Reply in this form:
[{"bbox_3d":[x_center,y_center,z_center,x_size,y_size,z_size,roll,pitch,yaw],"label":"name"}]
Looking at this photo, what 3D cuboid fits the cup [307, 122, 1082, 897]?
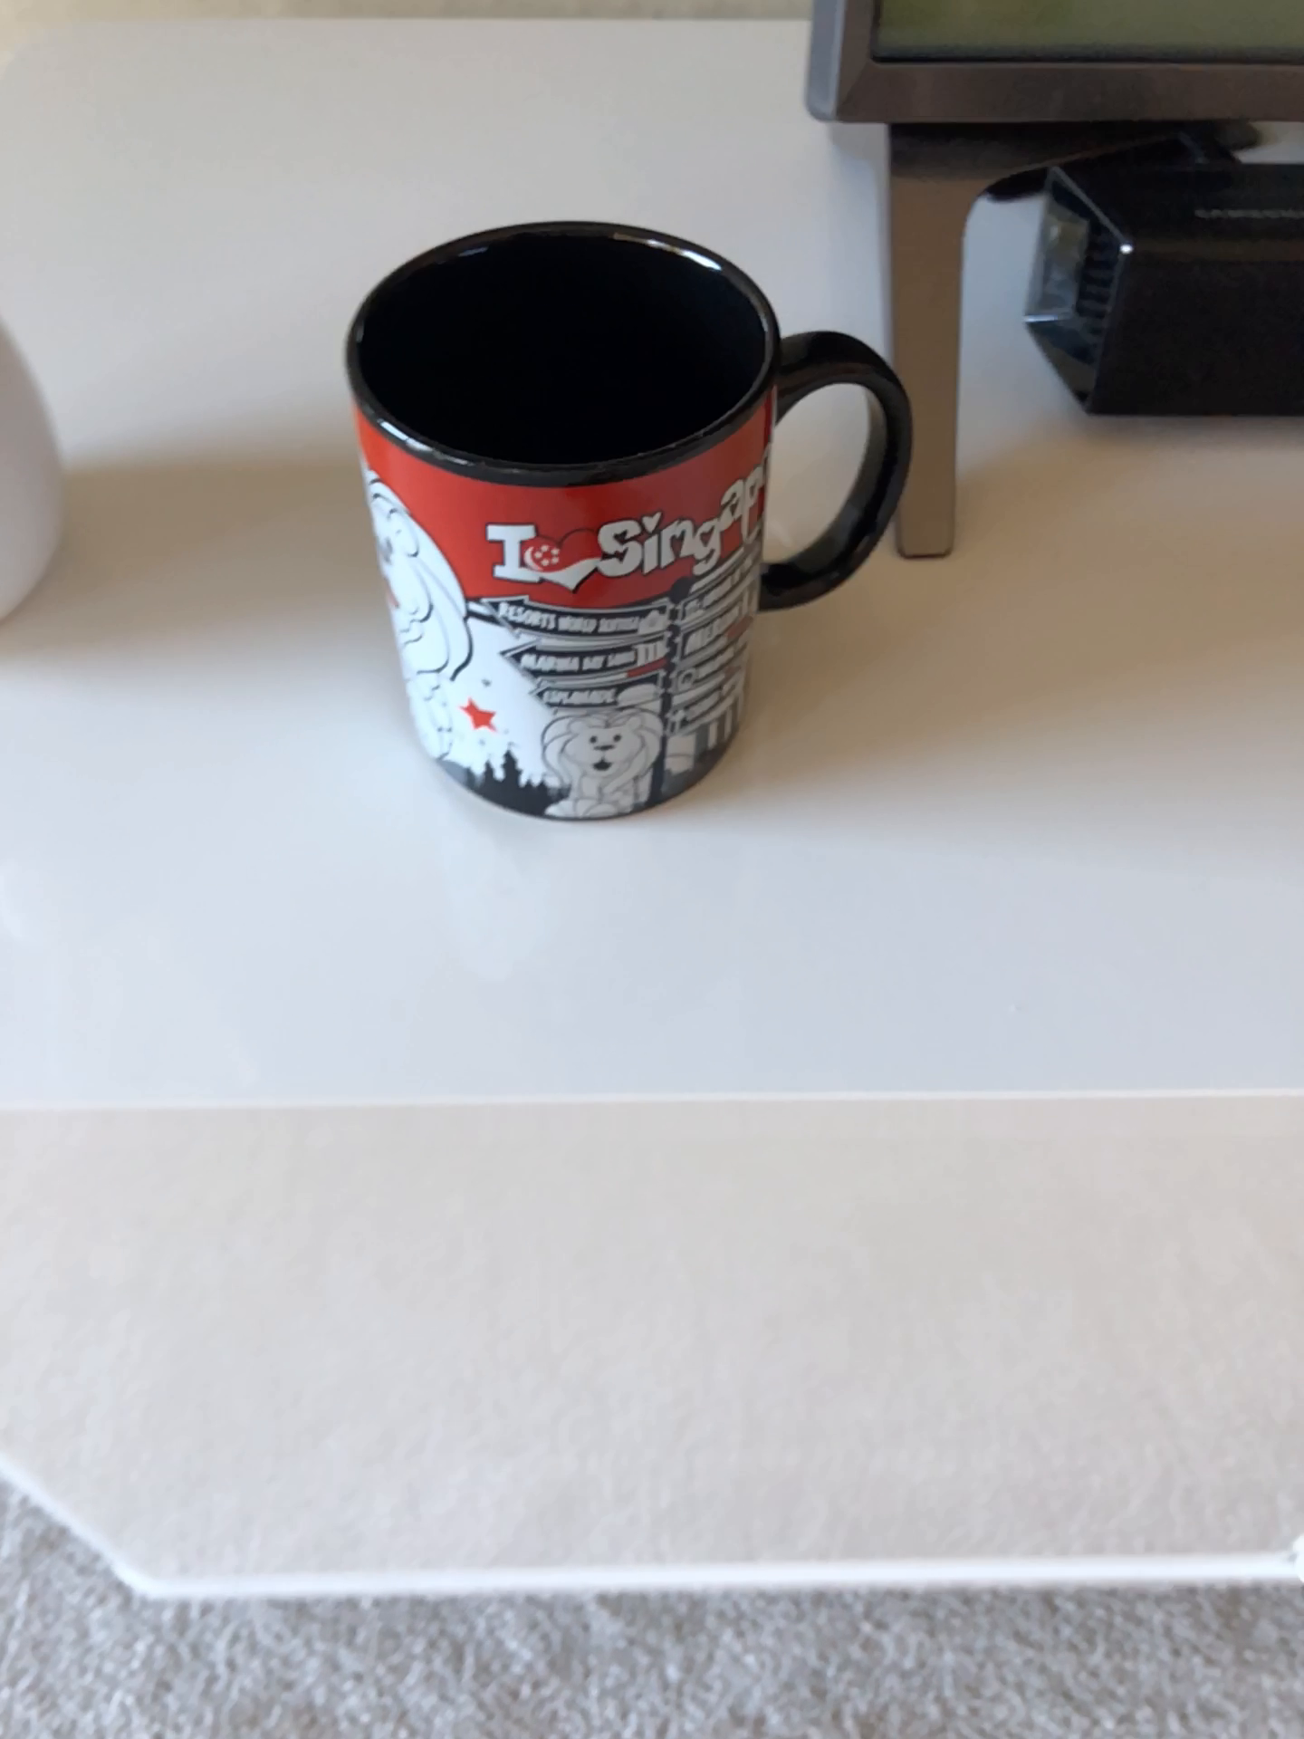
[{"bbox_3d":[0.005,-0.075,0.312,0.120,0.110,0.080,-18,54,-14],"label":"cup"}]
